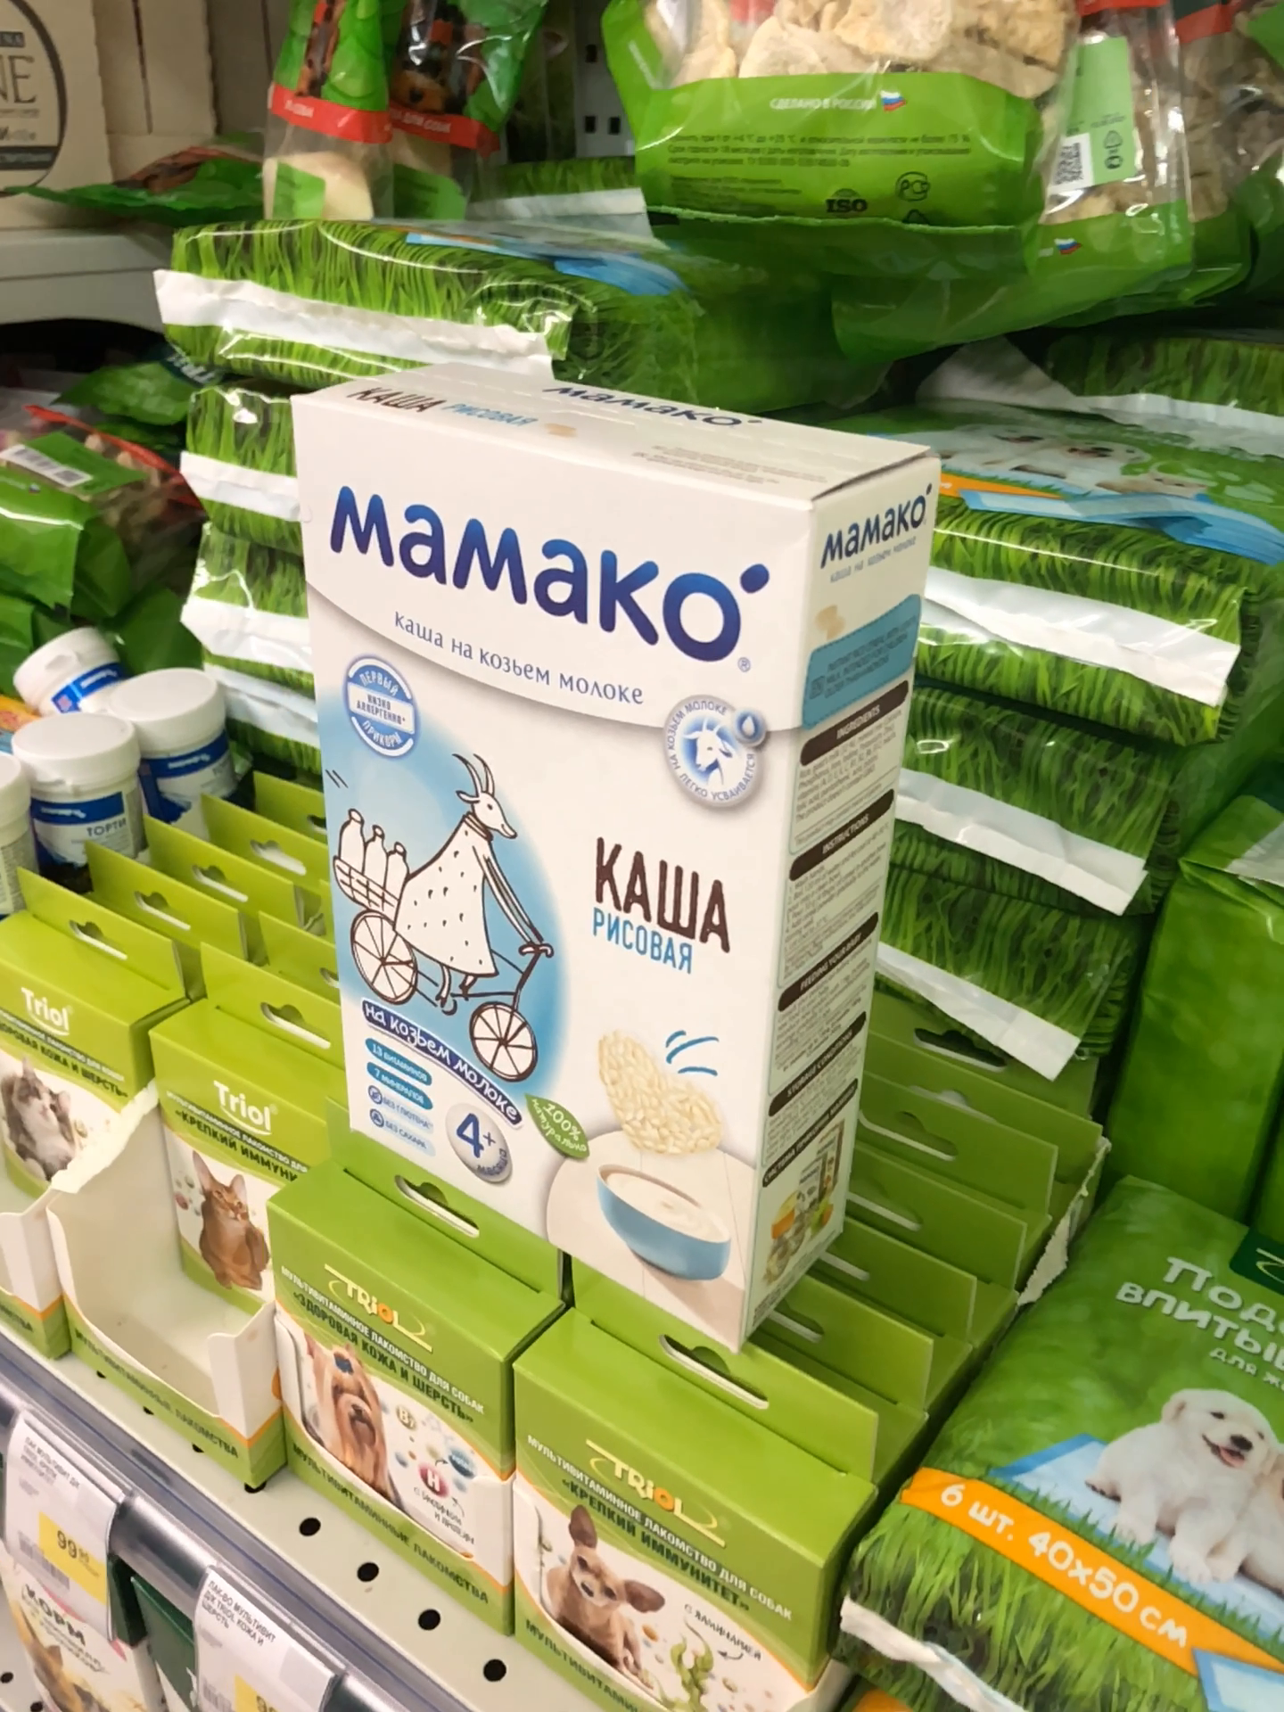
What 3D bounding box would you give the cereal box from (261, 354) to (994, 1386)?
[{"bbox_3d":[-0.010,-0.001,0.332,0.140,0.199,0.060,21,33,31],"label":"cereal box"}]
